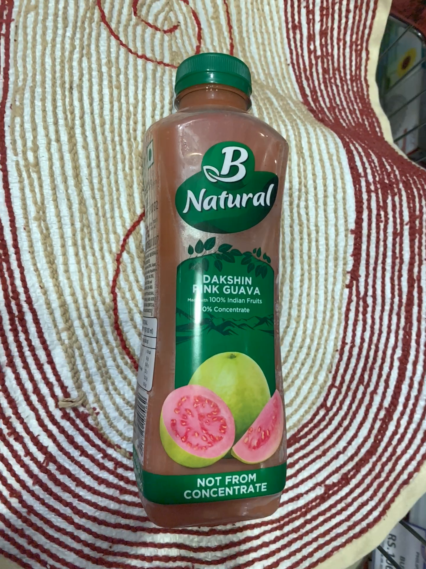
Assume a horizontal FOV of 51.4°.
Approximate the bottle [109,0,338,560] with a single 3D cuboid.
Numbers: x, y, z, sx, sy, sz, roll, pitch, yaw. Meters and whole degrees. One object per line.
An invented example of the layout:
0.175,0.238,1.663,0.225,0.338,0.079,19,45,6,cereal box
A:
0.001,-0.010,0.192,0.080,0.060,0.210,3,86,-15,bottle
